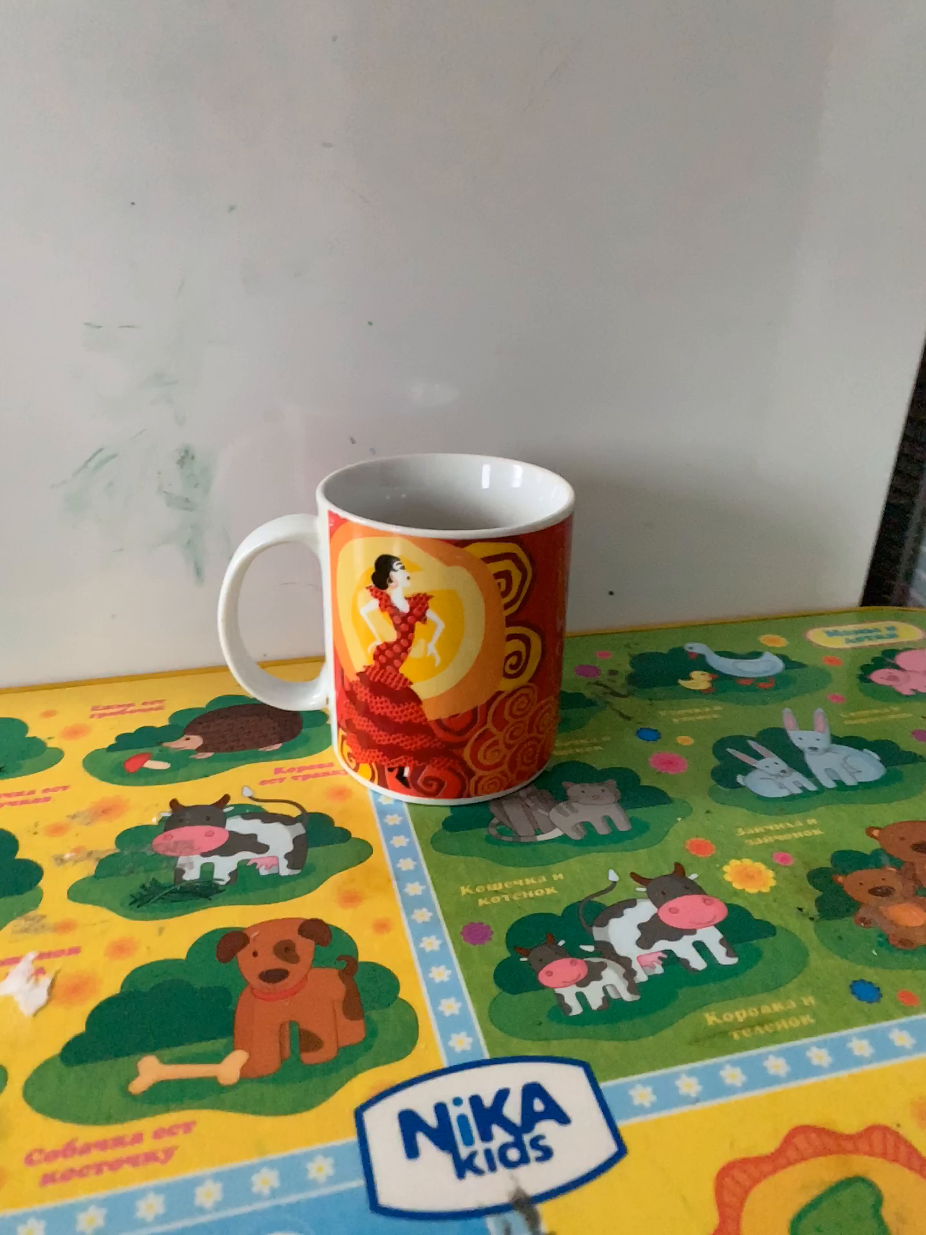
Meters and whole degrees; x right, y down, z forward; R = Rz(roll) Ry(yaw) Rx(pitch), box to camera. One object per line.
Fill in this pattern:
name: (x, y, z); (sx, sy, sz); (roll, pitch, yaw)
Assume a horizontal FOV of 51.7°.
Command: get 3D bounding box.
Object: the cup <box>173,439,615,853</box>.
cup: (-0.025, 0.003, 0.311); (0.118, 0.097, 0.085); (-4, 25, -11)
